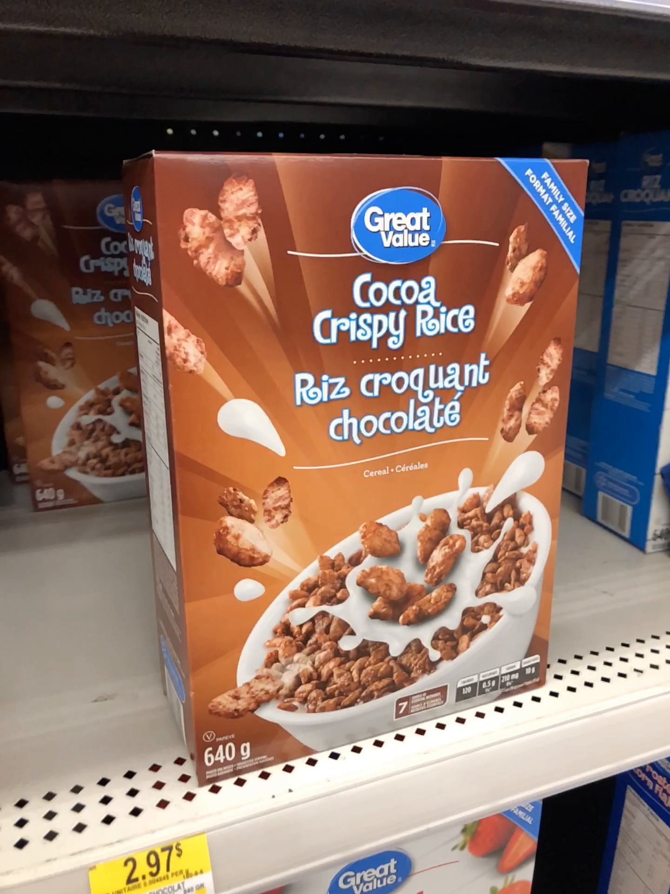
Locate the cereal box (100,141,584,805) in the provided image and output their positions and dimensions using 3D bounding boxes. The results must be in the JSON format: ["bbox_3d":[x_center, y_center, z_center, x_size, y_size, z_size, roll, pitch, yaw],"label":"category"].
[{"bbox_3d":[0.006,0.006,0.389,0.210,0.298,0.080,-8,19,-21],"label":"cereal box"}]
